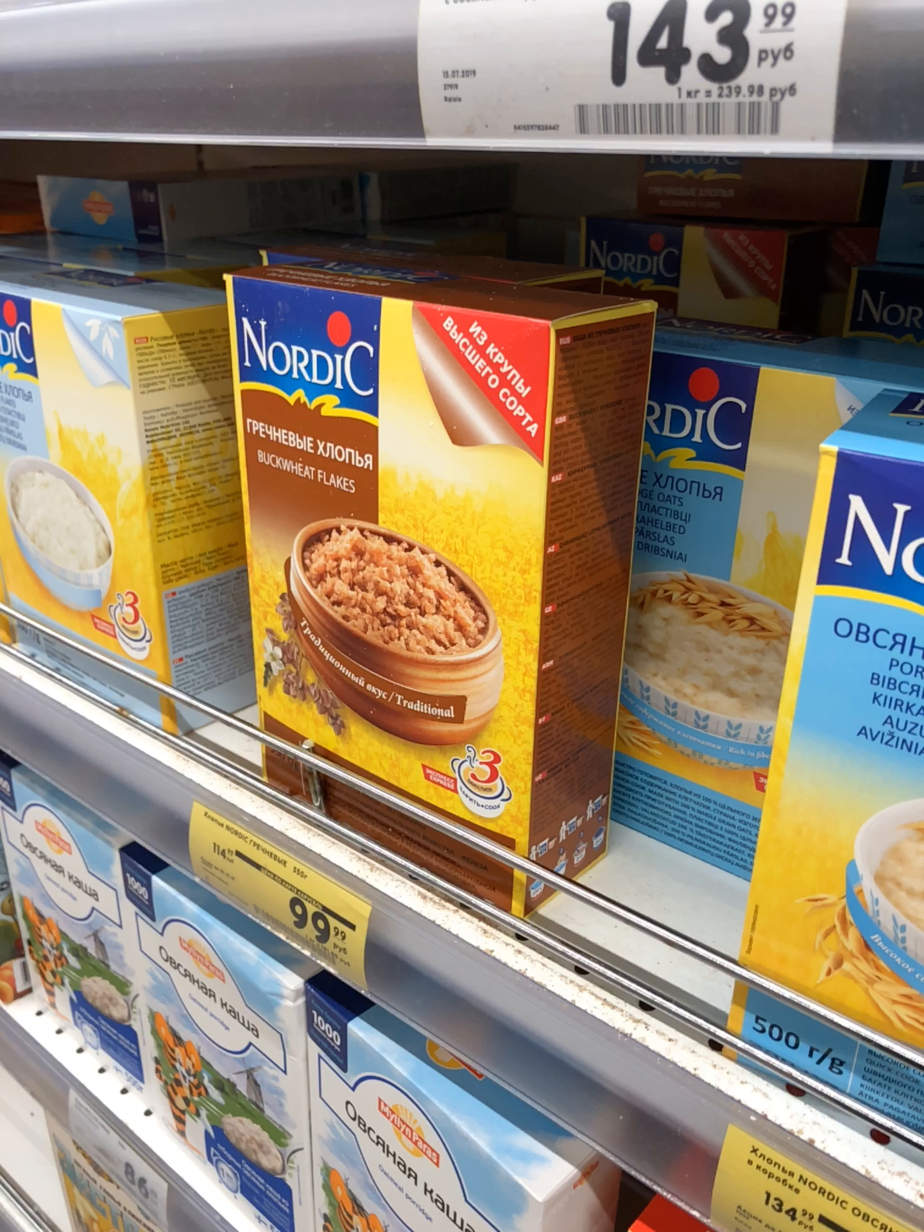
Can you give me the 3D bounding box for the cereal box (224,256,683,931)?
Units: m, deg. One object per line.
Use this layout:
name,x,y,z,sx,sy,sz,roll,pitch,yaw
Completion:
cereal box,-0.008,-0.016,0.380,0.140,0.209,0.070,20,30,36
